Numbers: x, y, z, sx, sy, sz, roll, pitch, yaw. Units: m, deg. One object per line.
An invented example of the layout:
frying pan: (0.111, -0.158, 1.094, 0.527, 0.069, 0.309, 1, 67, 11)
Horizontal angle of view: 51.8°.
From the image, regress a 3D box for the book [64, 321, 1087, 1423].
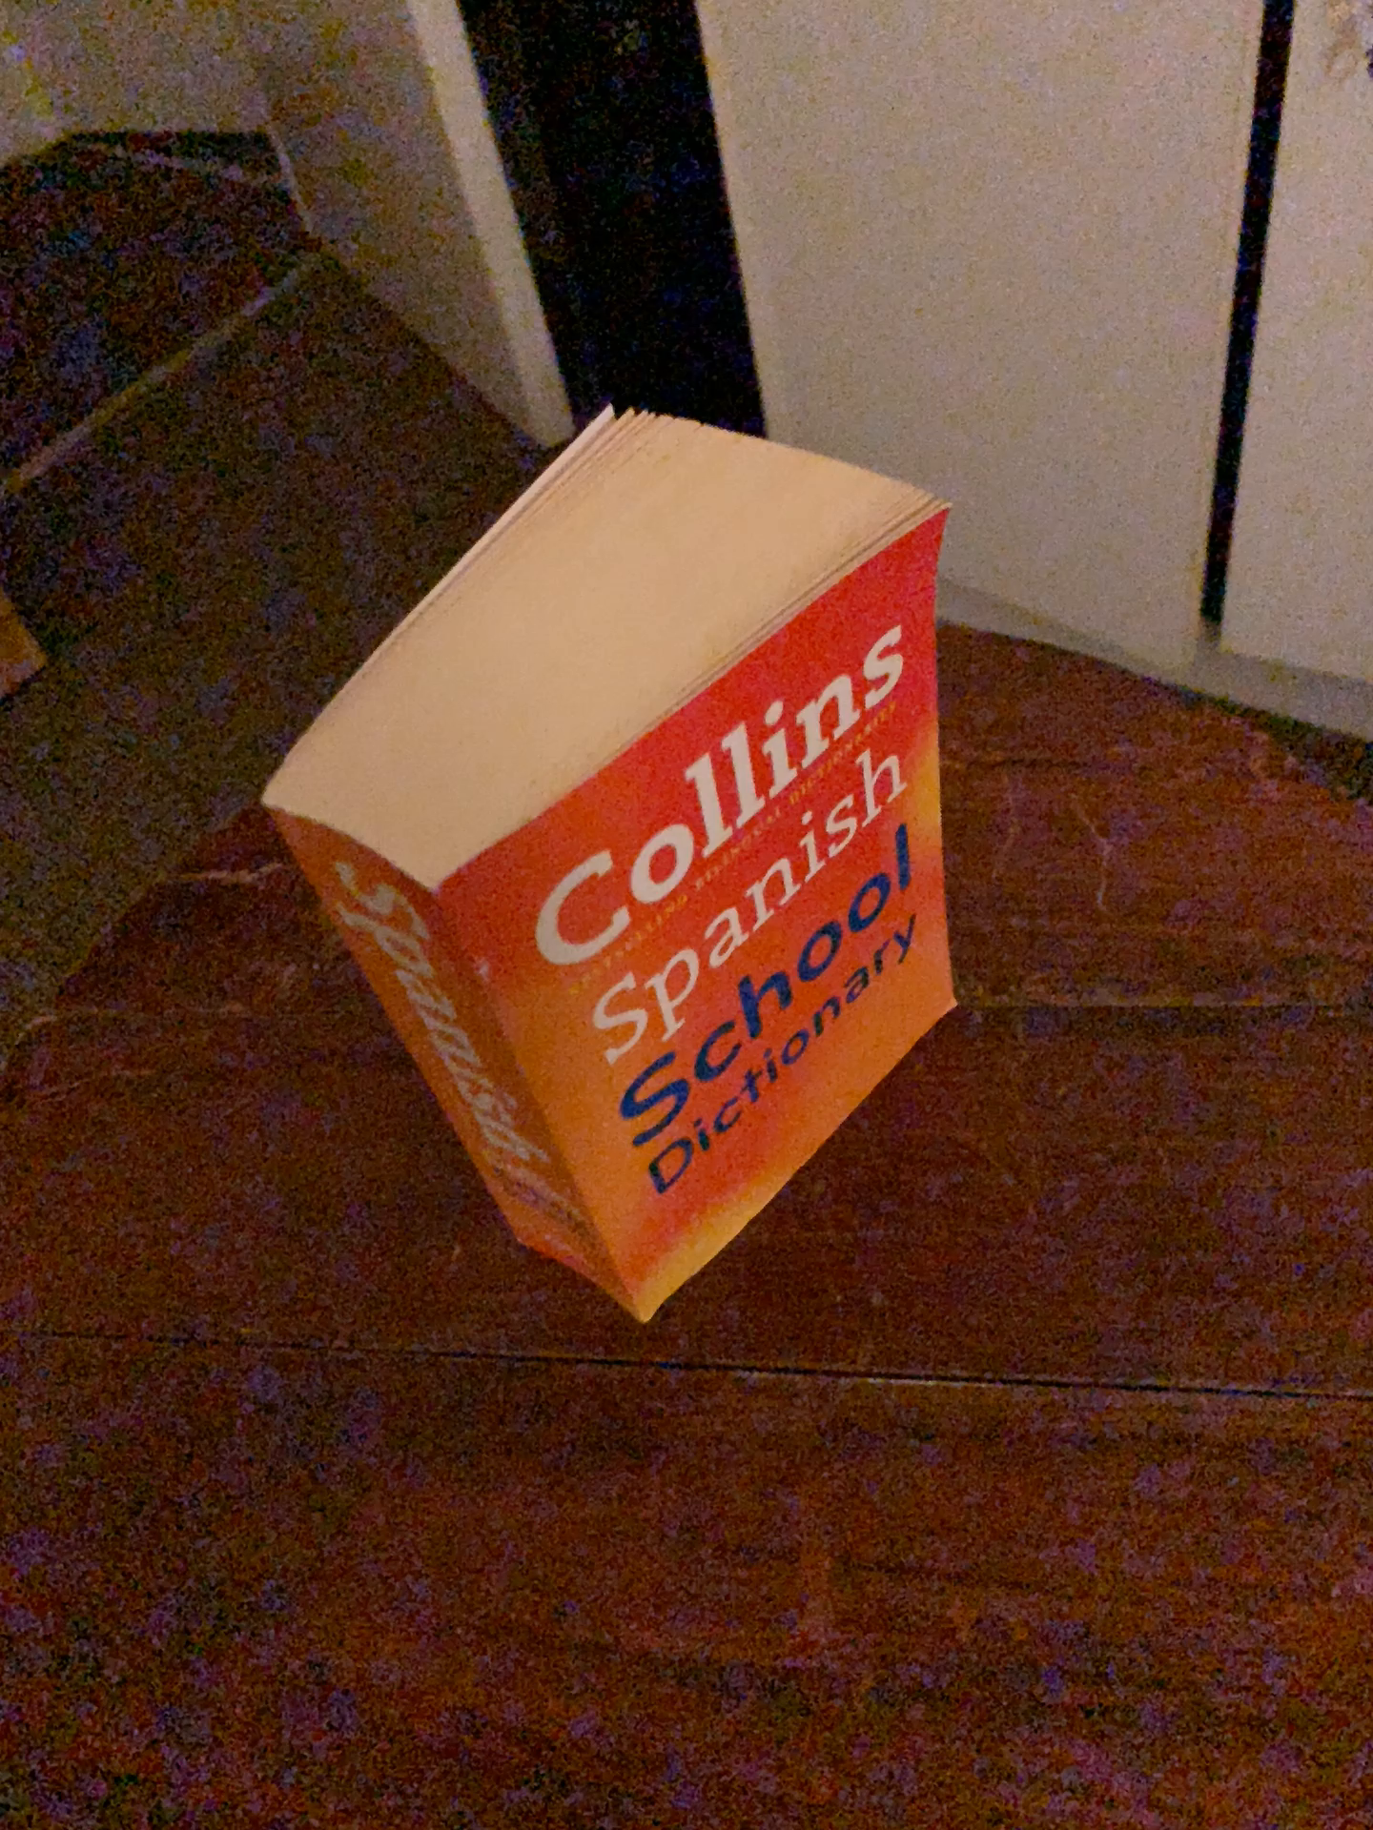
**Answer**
book: (-0.006, -0.008, 0.282, 0.140, 0.149, 0.080, -45, 45, -19)
